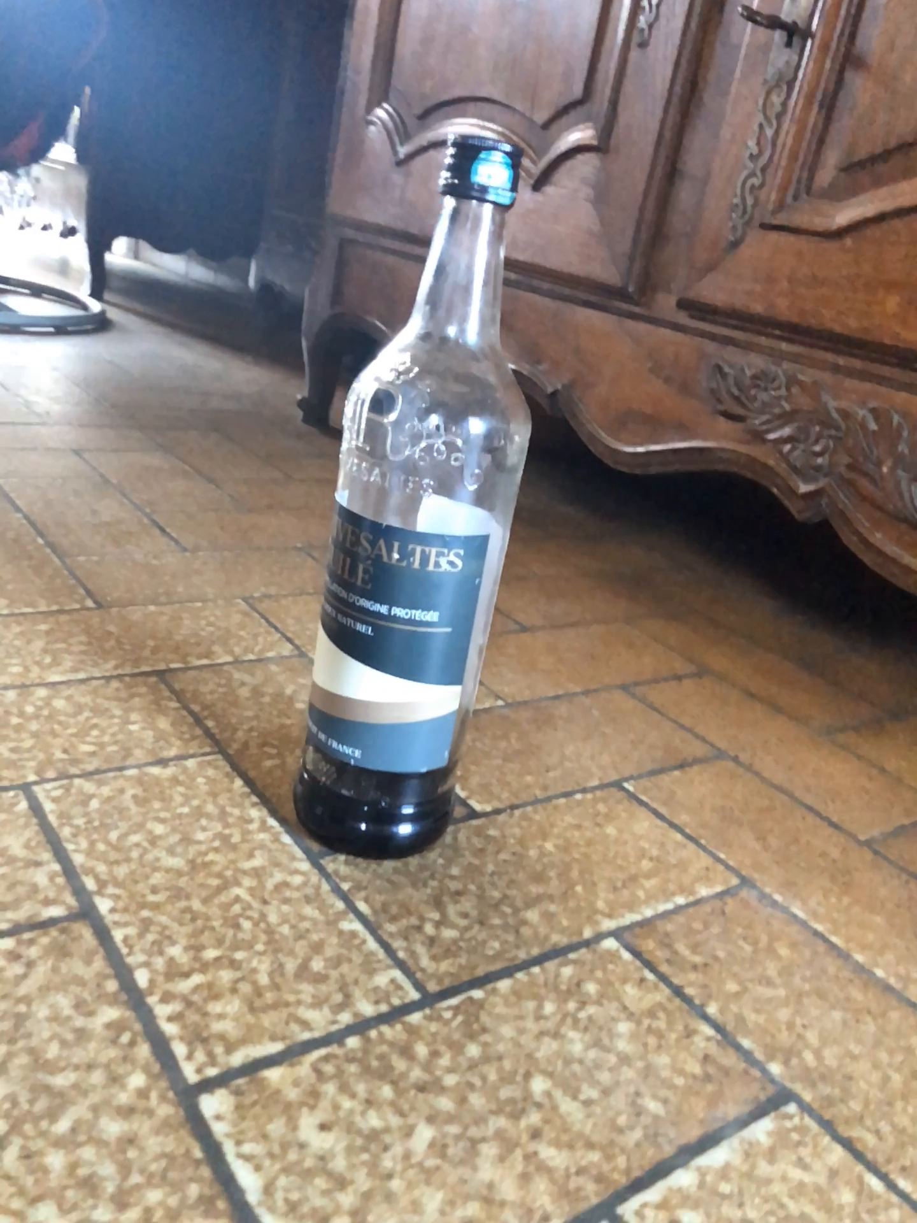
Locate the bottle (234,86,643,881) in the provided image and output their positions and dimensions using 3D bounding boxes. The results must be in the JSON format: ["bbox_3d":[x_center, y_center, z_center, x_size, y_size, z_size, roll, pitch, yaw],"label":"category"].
[{"bbox_3d":[-0.016,-0.048,0.434,0.090,0.298,0.091,10,20,-4],"label":"bottle"}]
